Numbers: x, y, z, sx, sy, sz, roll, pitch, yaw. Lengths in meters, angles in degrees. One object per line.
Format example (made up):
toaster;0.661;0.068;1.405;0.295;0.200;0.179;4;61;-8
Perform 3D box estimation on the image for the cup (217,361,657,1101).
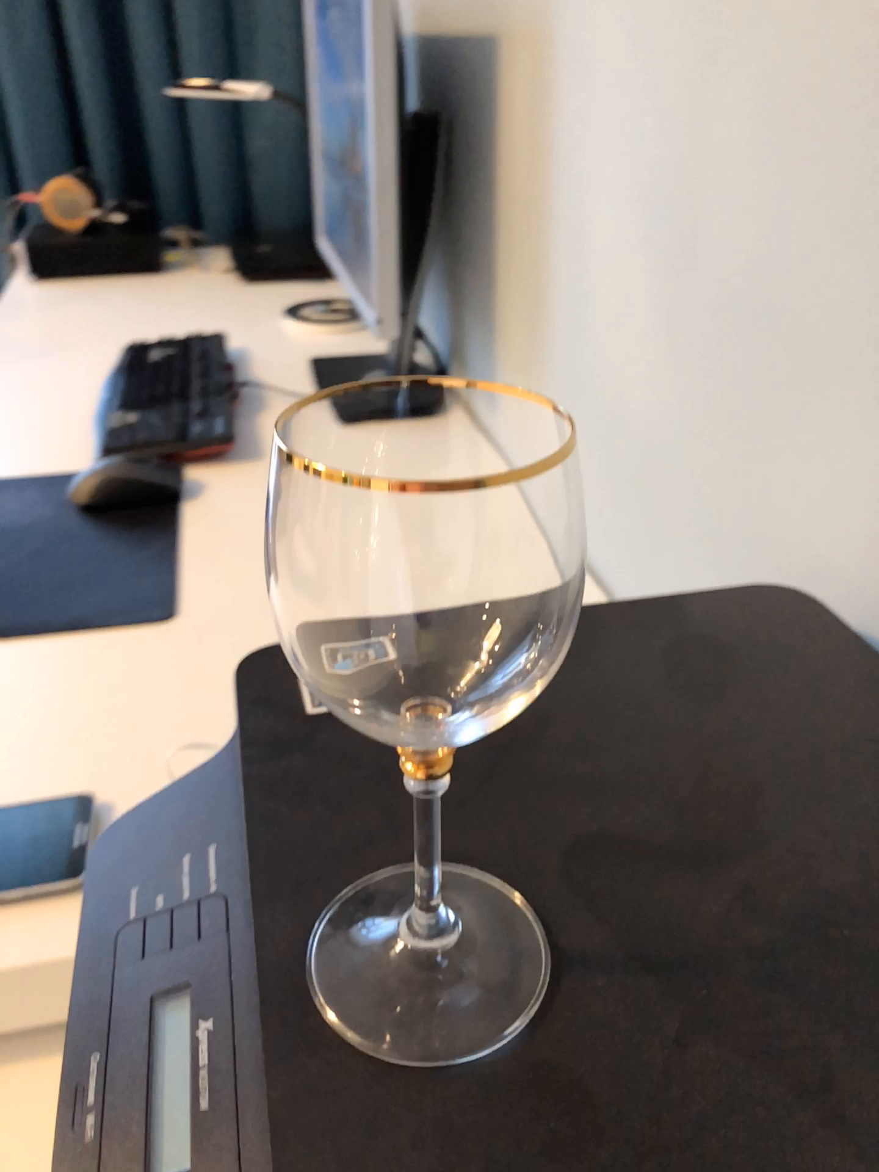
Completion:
cup;-0.008;0.039;0.268;0.086;0.177;0.087;1;28;-1
